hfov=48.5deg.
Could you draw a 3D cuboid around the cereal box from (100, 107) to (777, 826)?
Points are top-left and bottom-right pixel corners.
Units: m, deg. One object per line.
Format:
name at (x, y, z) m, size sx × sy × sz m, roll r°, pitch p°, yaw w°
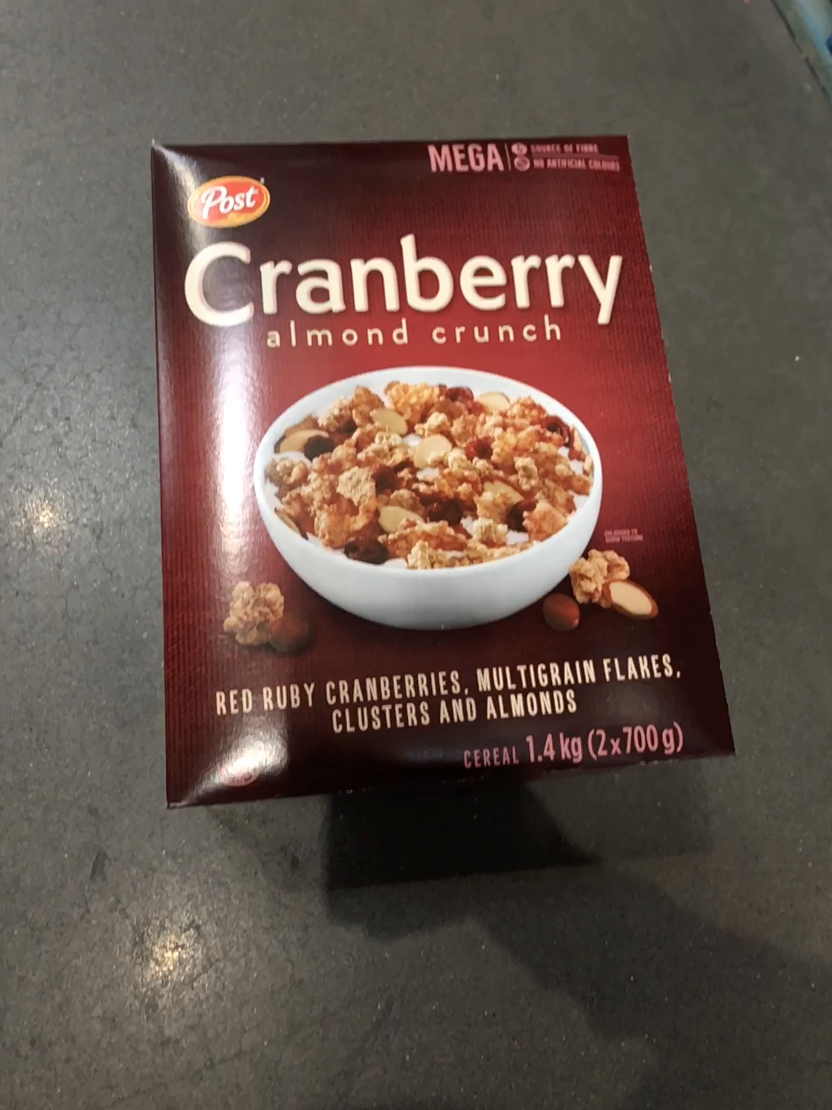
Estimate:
cereal box at (-0.004, -0.043, 0.461) m, size 0.260 × 0.130 × 0.310 m, roll -5°, pitch 76°, yaw -8°
